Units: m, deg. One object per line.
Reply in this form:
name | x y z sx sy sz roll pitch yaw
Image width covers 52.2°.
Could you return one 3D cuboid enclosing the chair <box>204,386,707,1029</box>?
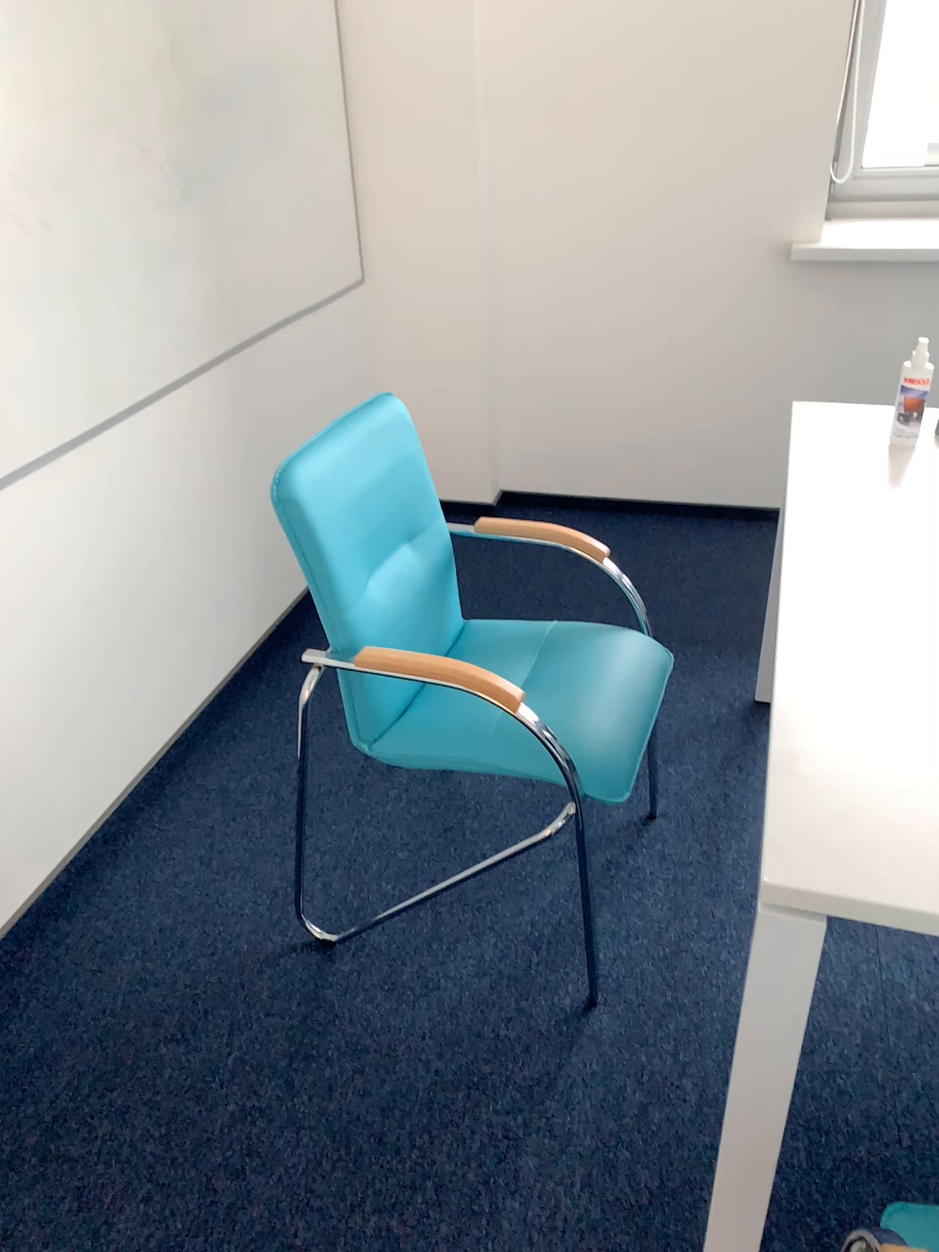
chair | 0.032 0.117 1.780 0.650 0.925 0.583 8 32 18
